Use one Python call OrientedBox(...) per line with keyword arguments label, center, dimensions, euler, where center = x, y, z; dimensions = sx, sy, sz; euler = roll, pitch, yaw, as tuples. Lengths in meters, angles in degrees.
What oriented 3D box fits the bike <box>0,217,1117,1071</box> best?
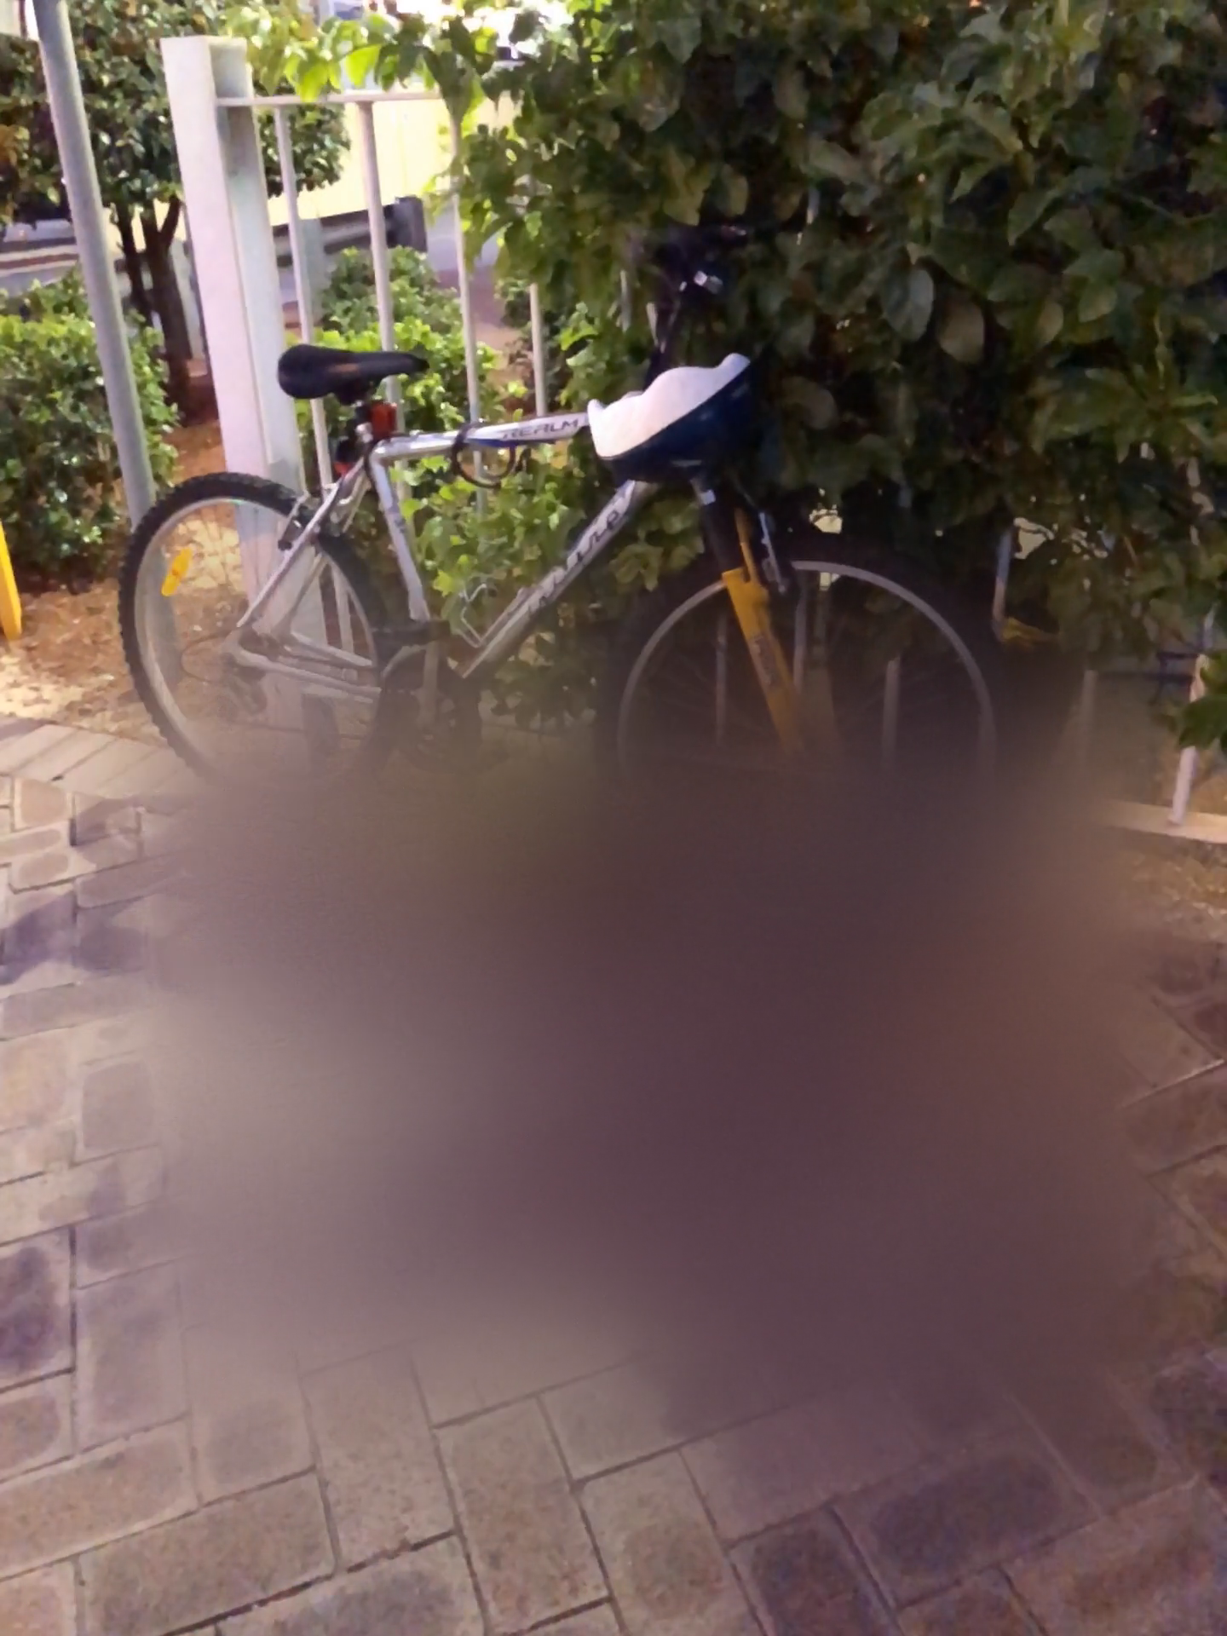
OrientedBox(label="bike", center=(-0.189, -0.377, 2.121), dimensions=(1.694, 0.995, 0.554), euler=(11, 29, 24))
